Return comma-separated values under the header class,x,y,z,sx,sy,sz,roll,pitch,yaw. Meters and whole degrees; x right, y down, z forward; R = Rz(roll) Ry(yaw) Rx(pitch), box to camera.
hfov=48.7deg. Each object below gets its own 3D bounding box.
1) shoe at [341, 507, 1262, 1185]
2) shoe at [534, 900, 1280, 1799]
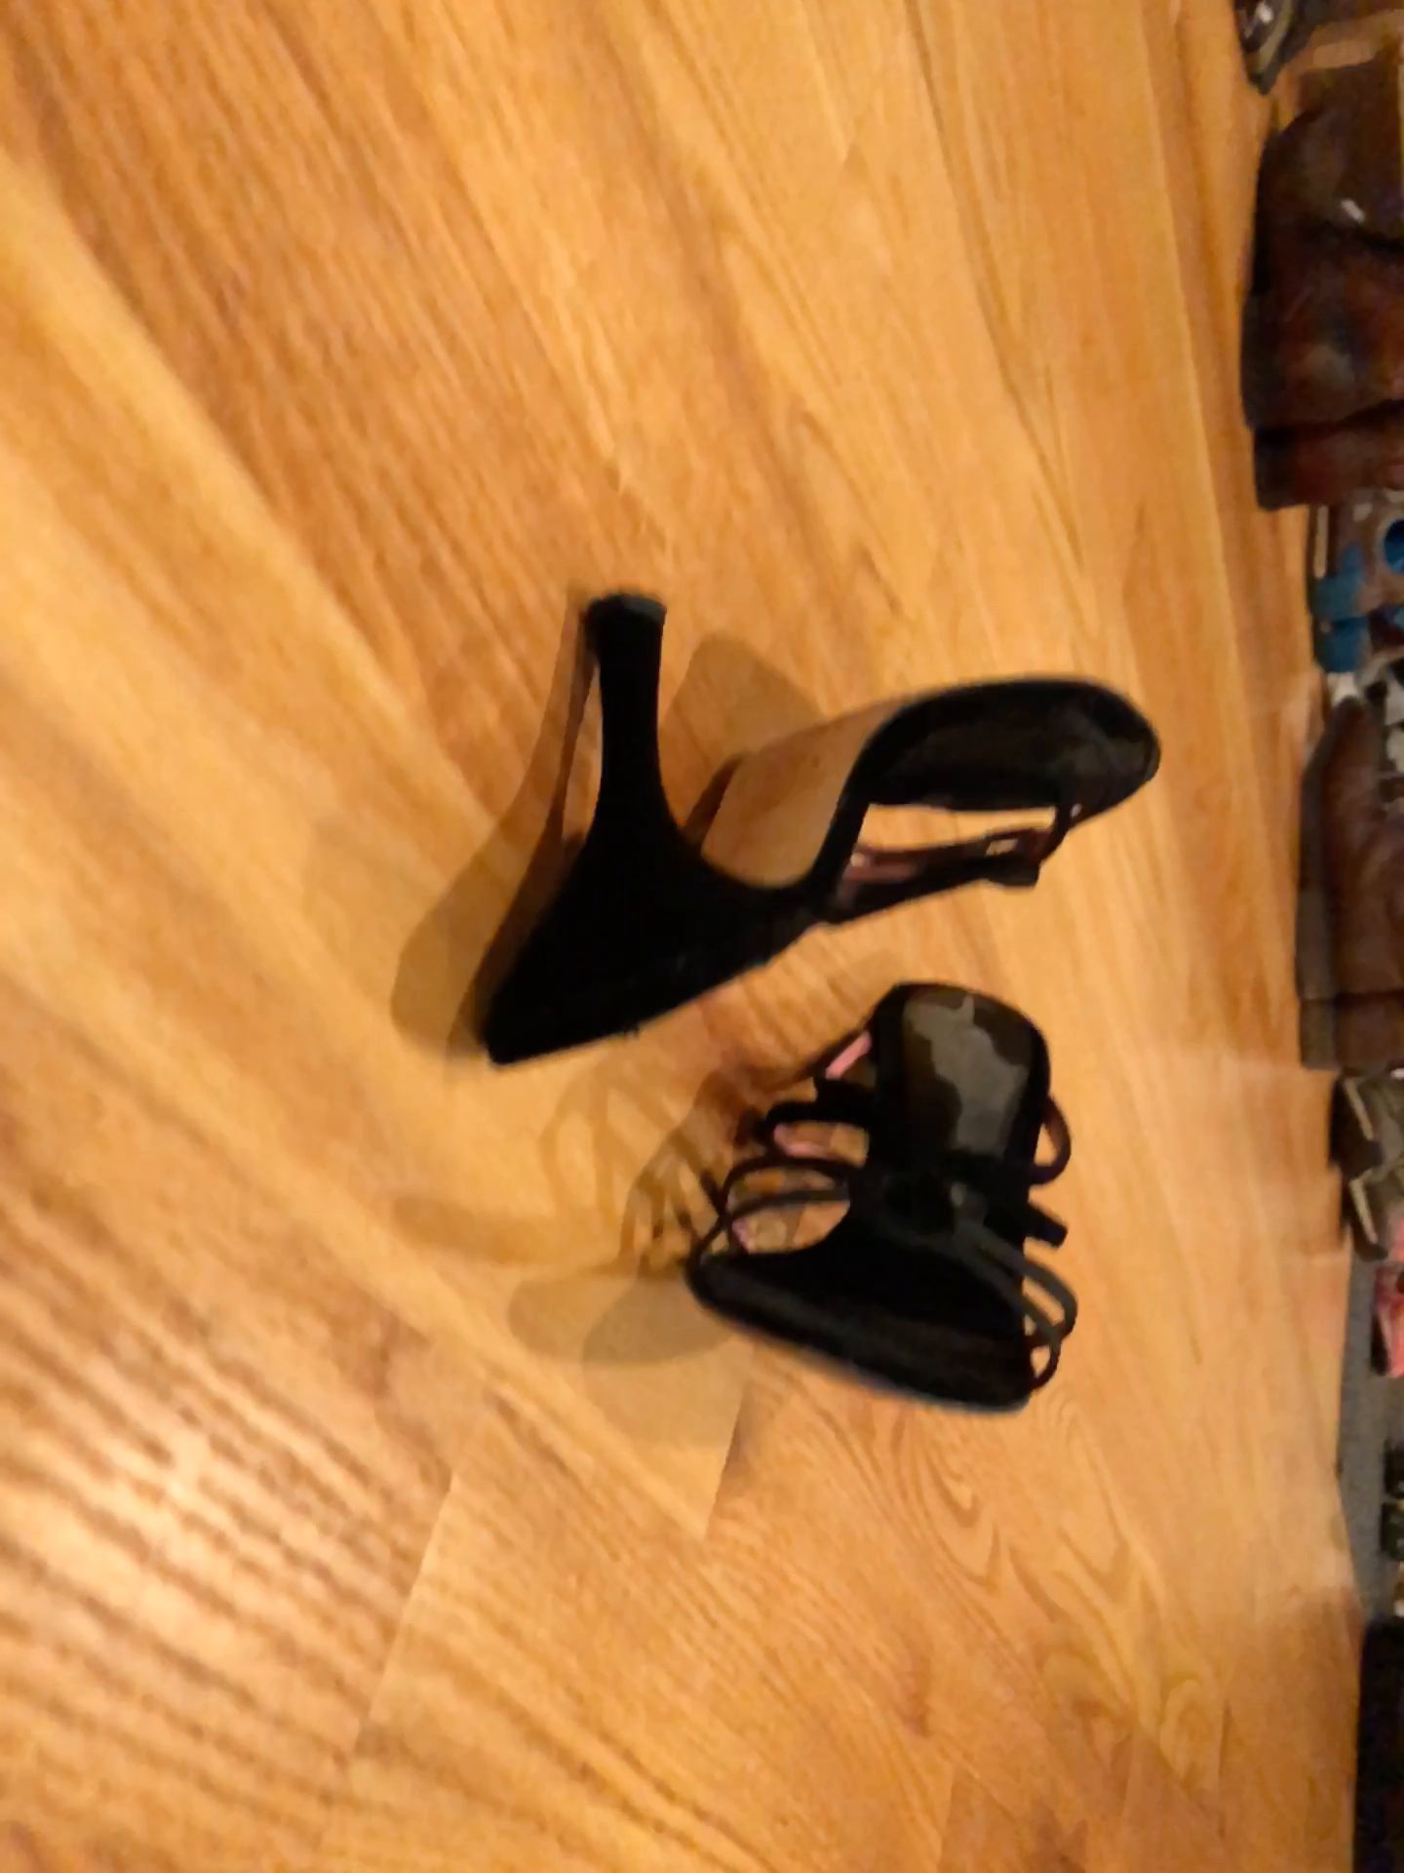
class,x,y,z,sx,sy,sz,roll,pitch,yaw
shoe,0.047,-0.040,0.326,0.236,0.104,0.082,-32,121,-59
shoe,0.069,0.070,0.372,0.216,0.104,0.102,-34,120,-58
